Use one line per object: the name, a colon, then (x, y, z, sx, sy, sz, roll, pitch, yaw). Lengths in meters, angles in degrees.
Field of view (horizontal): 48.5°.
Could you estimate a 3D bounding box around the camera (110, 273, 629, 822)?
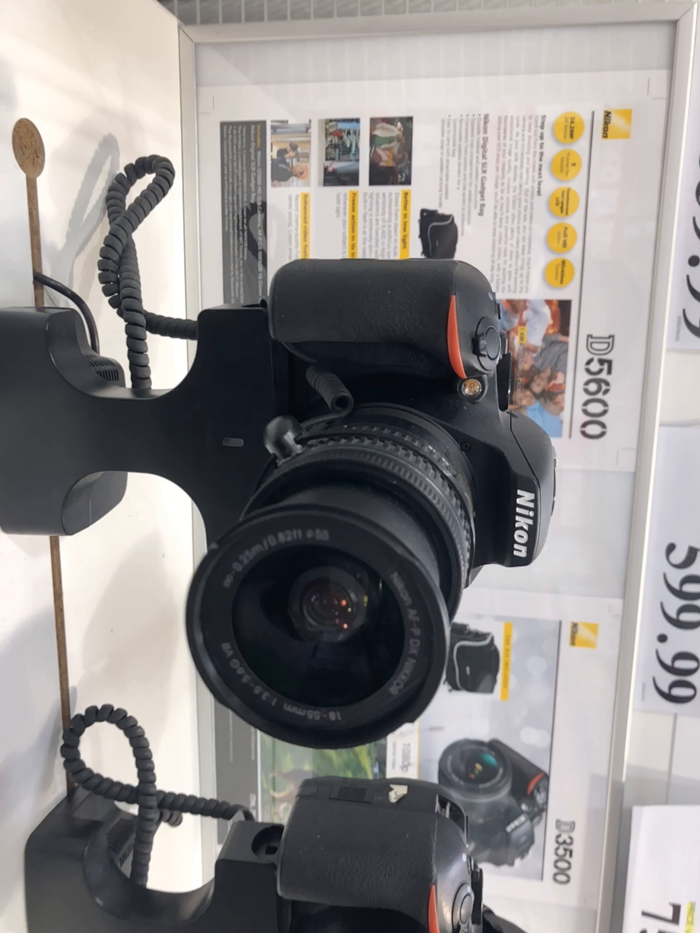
camera: (0.017, 0.003, 0.256, 0.160, 0.110, 0.120, -59, 150, -70)
